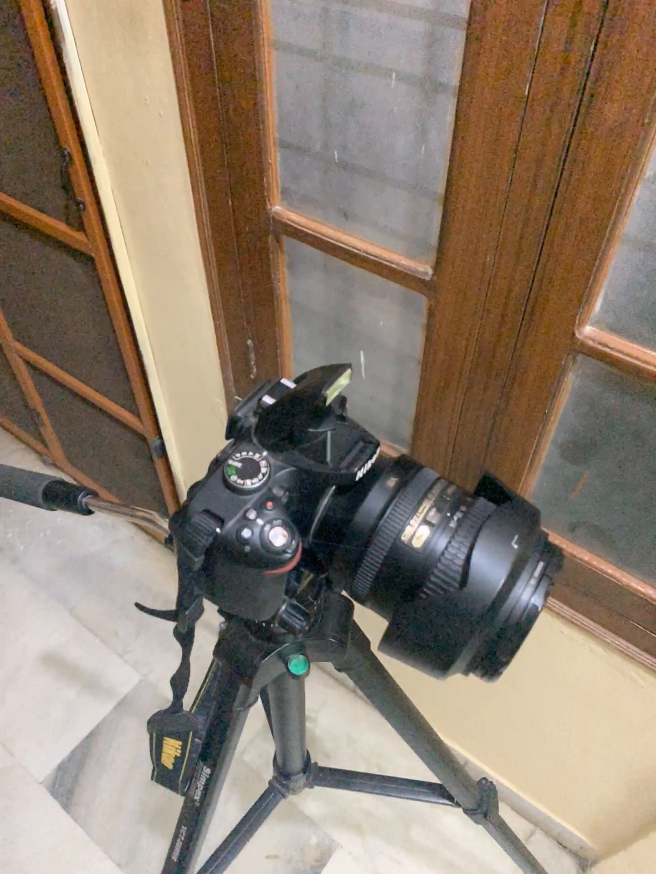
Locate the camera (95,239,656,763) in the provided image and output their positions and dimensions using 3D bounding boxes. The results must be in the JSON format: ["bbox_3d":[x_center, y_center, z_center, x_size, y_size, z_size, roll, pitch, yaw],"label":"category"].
[{"bbox_3d":[0.024,0.019,0.341,0.200,0.129,0.150,26,52,22],"label":"camera"}]
